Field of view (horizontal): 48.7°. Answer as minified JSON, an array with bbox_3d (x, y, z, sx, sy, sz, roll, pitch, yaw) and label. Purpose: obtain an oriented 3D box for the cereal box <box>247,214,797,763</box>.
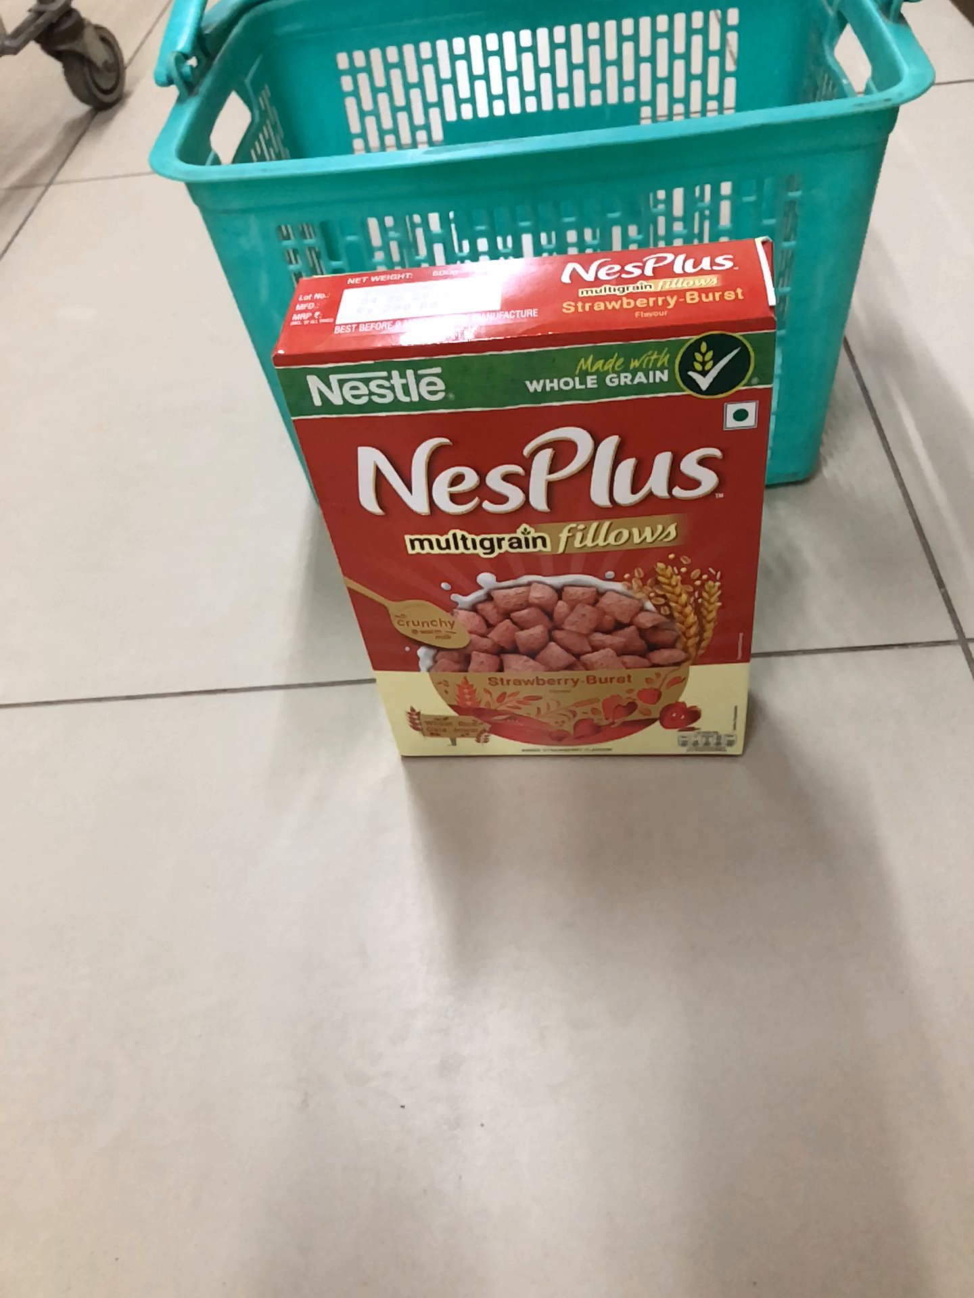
[{"bbox_3d":[0.026,-0.050,0.484,0.190,0.258,0.060,-1,48,8],"label":"cereal box"}]
